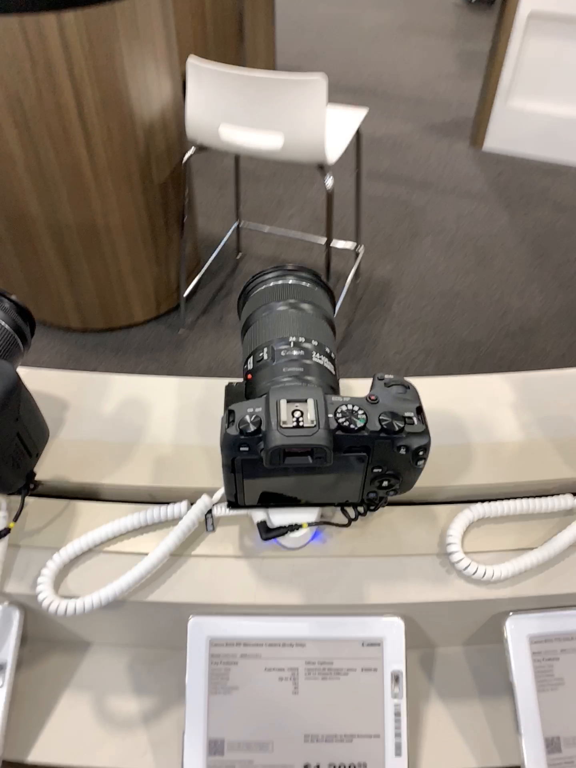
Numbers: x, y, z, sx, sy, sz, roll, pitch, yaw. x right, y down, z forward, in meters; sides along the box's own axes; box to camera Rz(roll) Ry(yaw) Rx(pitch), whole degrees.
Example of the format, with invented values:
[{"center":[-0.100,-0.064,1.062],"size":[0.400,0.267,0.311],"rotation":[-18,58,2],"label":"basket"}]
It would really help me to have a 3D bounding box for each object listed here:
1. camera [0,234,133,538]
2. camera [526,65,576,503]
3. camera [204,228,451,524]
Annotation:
[{"center":[-0.221,-0.004,0.426],"size":[0.150,0.119,0.171],"rotation":[5,47,5],"label":"camera"},{"center":[0.291,-0.059,0.387],"size":[0.150,0.219,0.171],"rotation":[-3,47,-3],"label":"camera"},{"center":[0.017,-0.015,0.439],"size":[0.140,0.099,0.201],"rotation":[-2,47,-2],"label":"camera"}]
